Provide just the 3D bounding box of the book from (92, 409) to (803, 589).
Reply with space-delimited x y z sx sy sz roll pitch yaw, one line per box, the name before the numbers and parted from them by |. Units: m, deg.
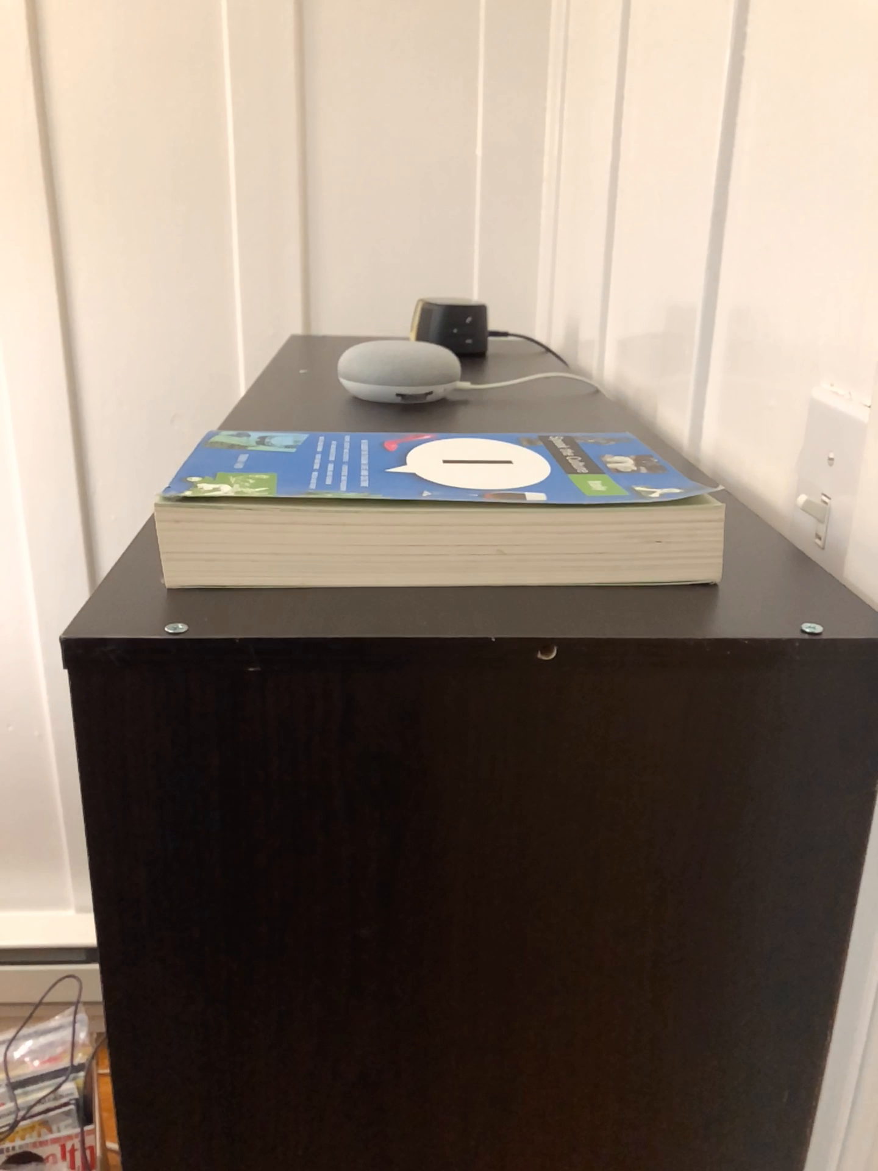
book | -0.001 -0.049 0.452 0.260 0.030 0.201 -1 20 -5
